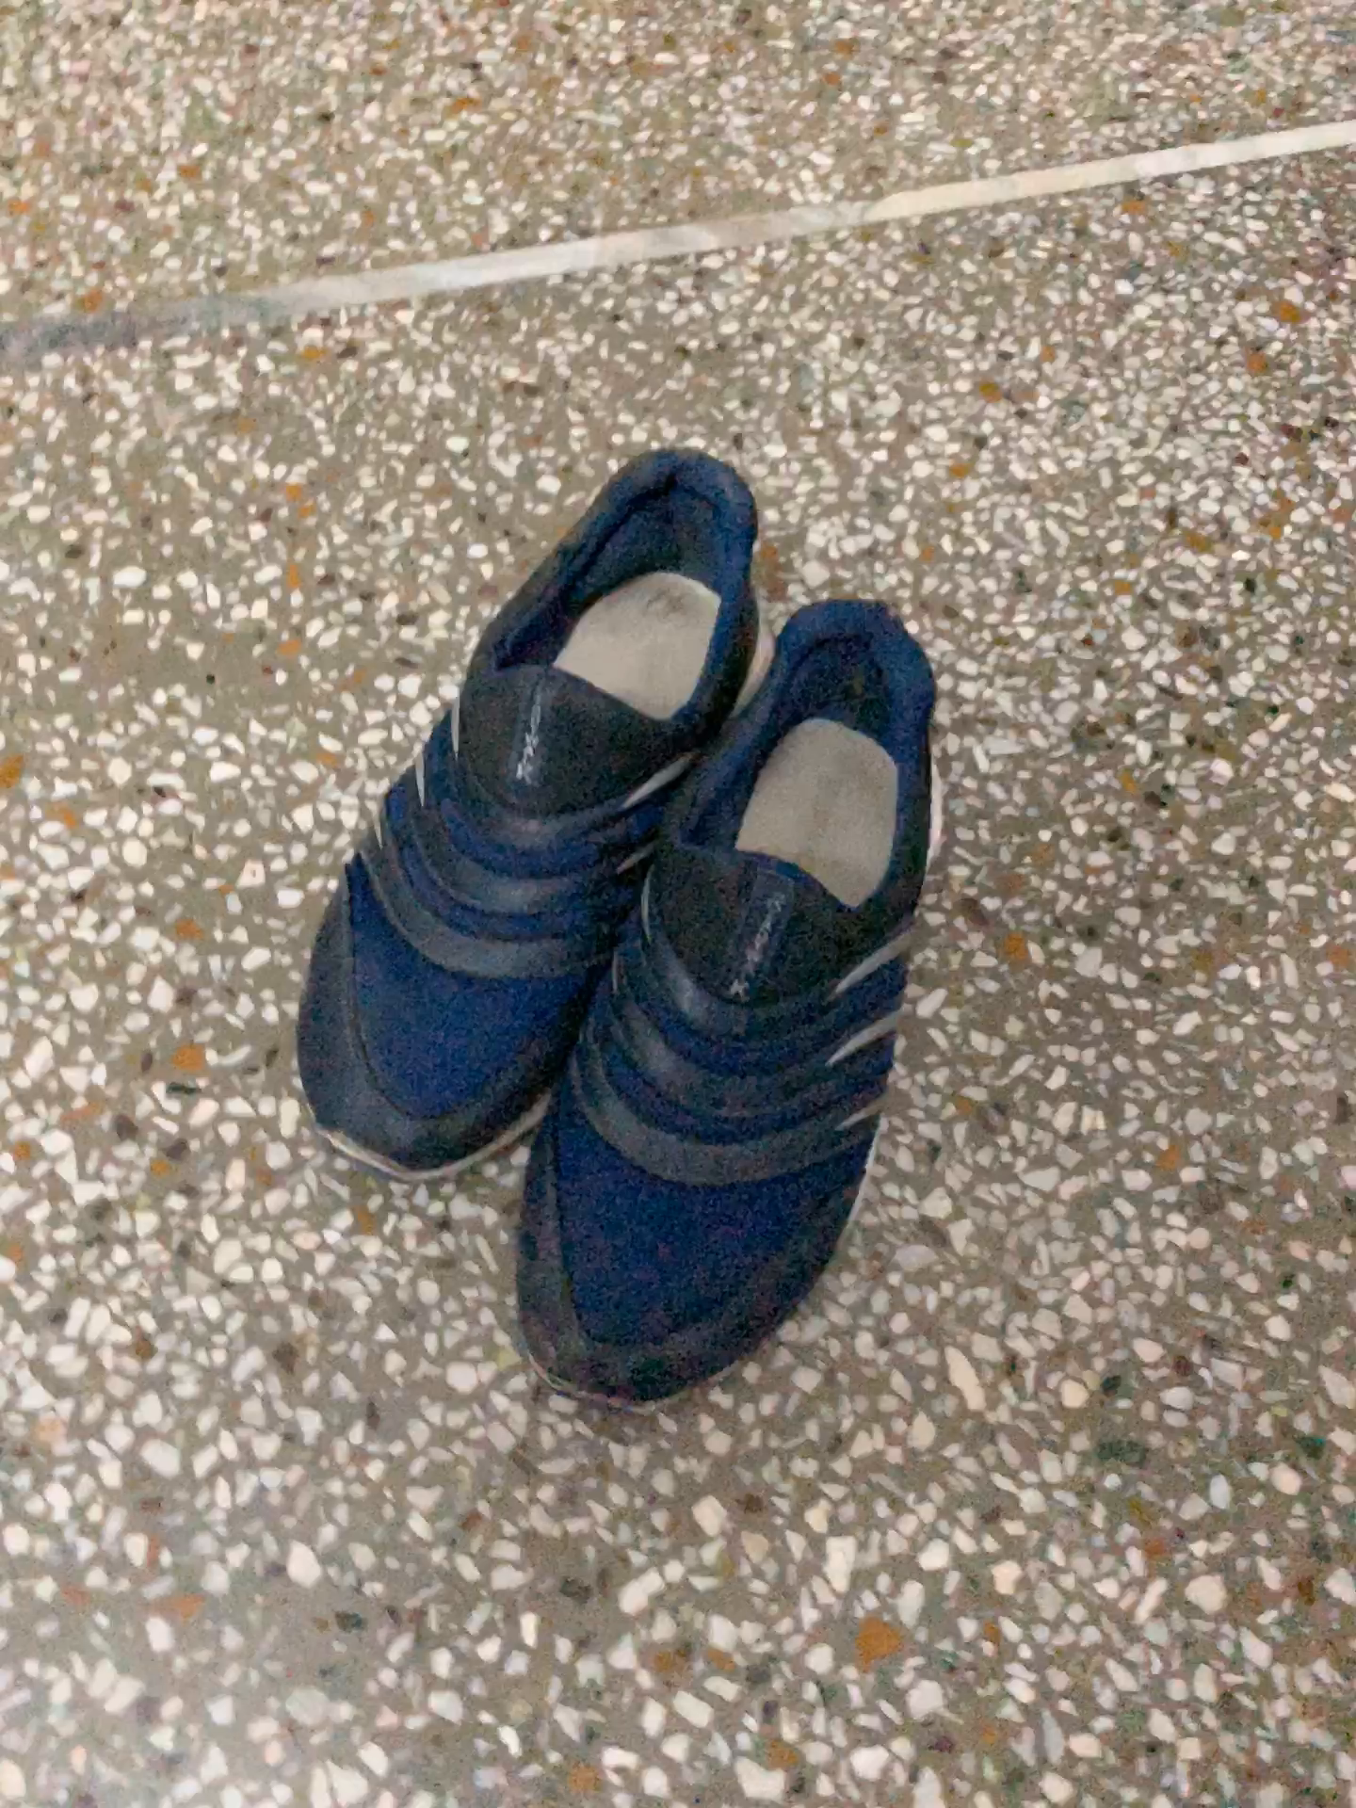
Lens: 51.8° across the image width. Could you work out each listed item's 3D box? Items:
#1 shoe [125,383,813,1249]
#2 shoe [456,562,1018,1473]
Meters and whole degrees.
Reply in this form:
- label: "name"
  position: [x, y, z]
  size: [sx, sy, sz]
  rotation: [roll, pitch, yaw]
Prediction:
- label: "shoe"
  position: [-0.056, -0.041, 0.485]
  size: [0.104, 0.080, 0.283]
  rotation: [22, 64, 7]
- label: "shoe"
  position: [0.027, 0.032, 0.480]
  size: [0.104, 0.096, 0.280]
  rotation: [17, 64, 4]
